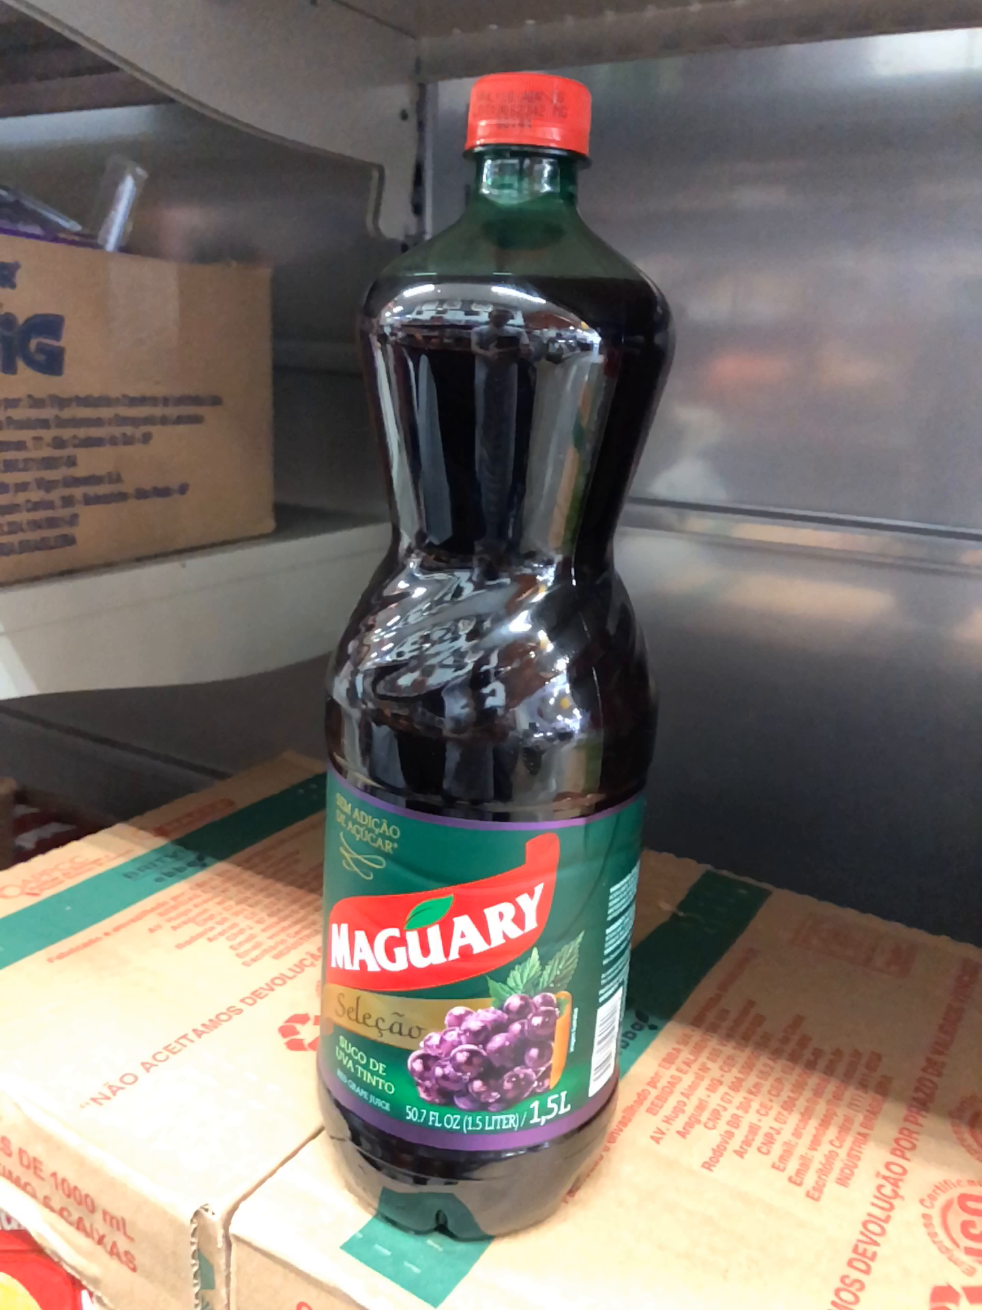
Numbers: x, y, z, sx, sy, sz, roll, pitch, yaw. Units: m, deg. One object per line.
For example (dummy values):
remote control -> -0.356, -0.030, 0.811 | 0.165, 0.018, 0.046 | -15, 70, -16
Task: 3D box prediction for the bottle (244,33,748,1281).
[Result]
bottle -> -0.001, 0.006, 0.292 | 0.100, 0.289, 0.080 | 7, 16, 14
